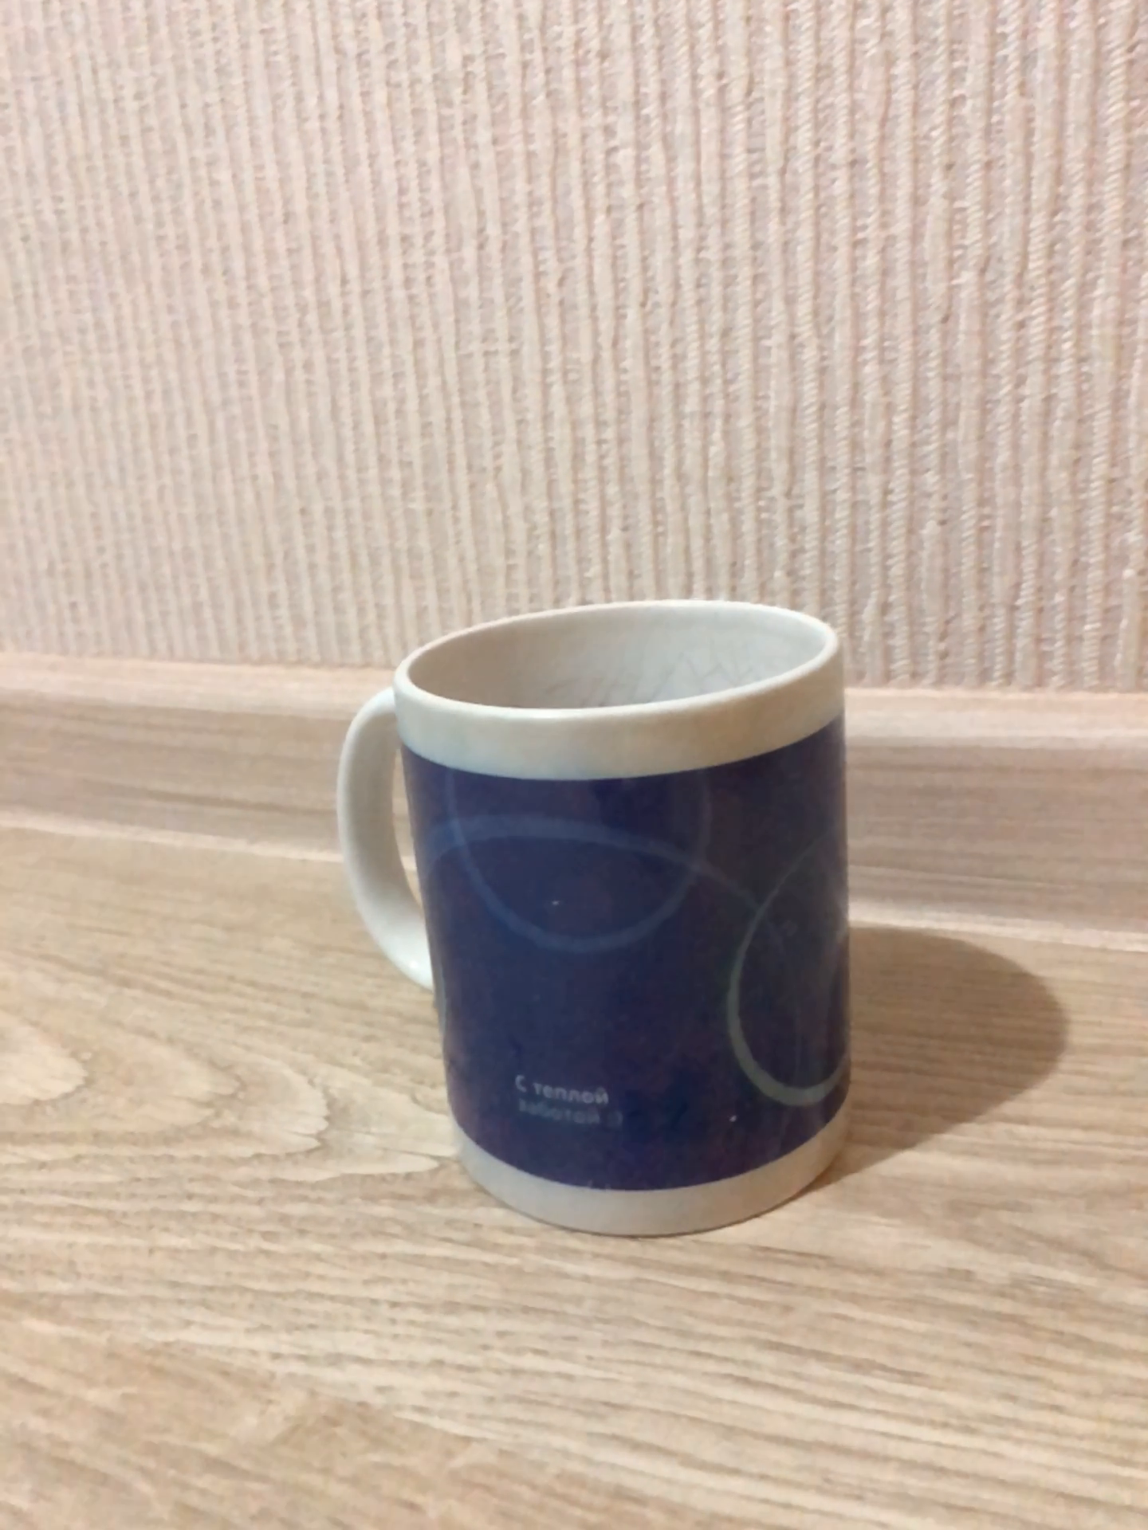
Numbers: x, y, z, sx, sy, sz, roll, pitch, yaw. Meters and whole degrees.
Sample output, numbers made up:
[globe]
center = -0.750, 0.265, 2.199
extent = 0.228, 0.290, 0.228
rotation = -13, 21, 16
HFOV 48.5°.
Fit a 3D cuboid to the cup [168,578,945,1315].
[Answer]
[cup]
center = -0.001, 0.021, 0.266
extent = 0.123, 0.099, 0.094
rotation = 10, 22, 38
